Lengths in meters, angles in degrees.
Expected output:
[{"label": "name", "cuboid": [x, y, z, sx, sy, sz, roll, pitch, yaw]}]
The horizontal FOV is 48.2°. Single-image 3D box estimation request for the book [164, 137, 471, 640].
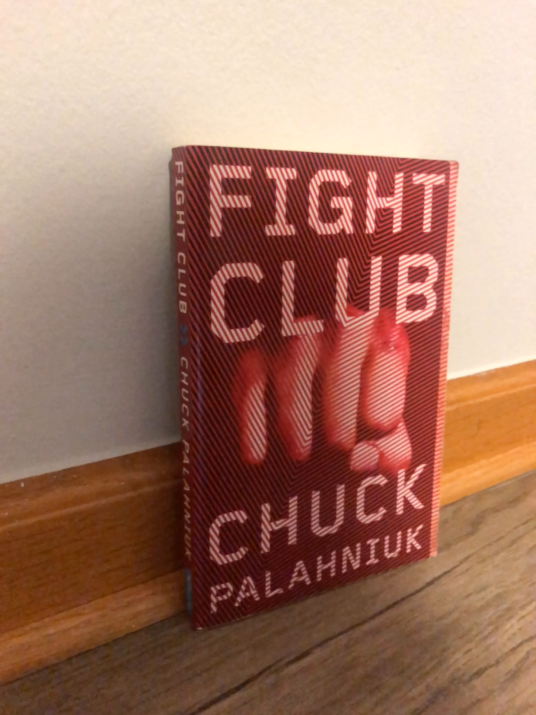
[{"label": "book", "cuboid": [0.024, 0.013, 0.284, 0.138, 0.210, 0.030, -6, 16, -28]}]
